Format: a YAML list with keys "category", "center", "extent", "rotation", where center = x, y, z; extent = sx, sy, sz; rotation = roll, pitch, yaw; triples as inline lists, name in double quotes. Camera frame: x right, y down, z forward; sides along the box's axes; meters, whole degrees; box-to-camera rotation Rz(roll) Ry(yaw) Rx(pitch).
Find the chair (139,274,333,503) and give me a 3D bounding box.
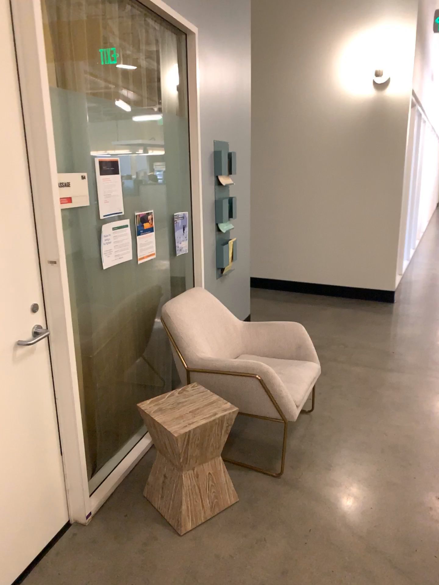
- category: "chair"
  center: [0.139, 0.457, 2.608]
  extent: [0.871, 0.927, 0.782]
  rotation: [5, 16, 21]
